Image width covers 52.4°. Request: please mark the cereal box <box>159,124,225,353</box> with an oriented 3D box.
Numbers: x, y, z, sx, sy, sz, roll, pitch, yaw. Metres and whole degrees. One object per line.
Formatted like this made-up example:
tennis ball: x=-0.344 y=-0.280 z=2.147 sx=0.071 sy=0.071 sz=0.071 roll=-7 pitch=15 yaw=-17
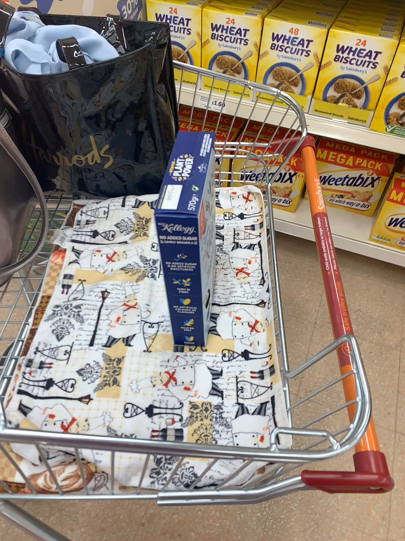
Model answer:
cereal box: x=-0.002 y=-0.034 z=0.541 sx=0.050 sy=0.248 sz=0.172 roll=2 pitch=47 yaw=6
